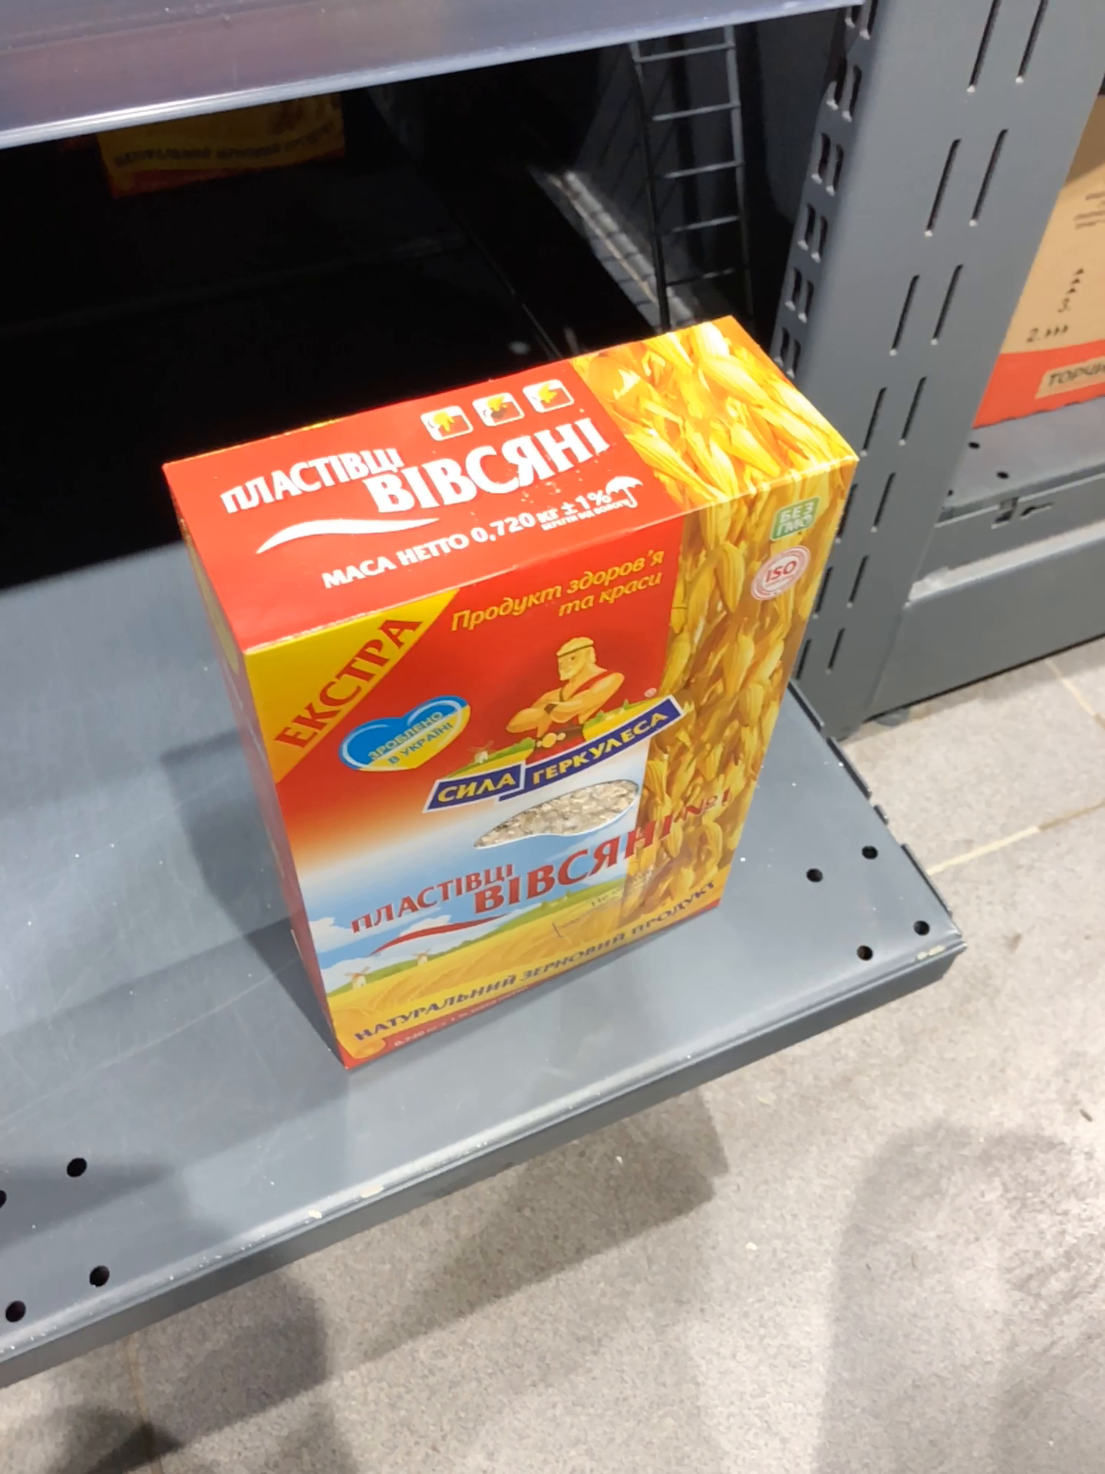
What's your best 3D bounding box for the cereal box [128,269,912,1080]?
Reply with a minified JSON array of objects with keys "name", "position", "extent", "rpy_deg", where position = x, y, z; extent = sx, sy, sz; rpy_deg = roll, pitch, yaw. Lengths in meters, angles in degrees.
[{"name":"cereal box","position":[-0.009,-0.005,0.356],"extent":[0.160,0.209,0.070],"rpy_deg":[-20,56,-17]}]
